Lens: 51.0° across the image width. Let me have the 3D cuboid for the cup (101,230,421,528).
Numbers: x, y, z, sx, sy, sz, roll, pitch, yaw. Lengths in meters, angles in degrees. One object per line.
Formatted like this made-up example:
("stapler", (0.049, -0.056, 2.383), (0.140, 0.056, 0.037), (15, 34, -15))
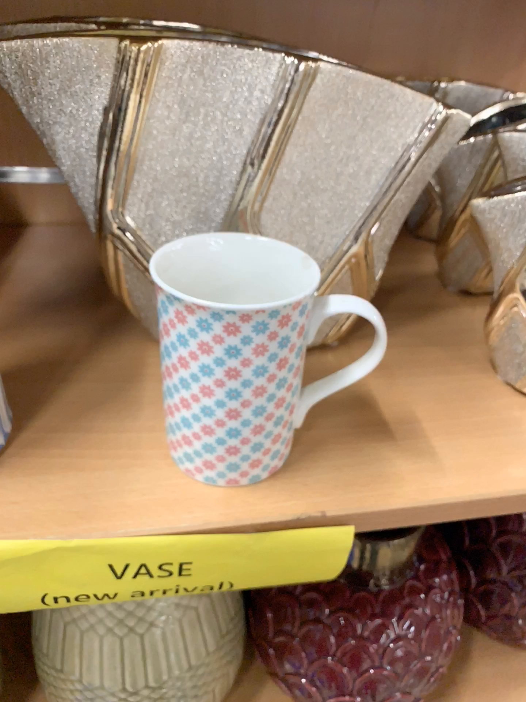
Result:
("cup", (-0.002, 0.012, 0.270), (0.120, 0.110, 0.080), (4, 32, 1))
